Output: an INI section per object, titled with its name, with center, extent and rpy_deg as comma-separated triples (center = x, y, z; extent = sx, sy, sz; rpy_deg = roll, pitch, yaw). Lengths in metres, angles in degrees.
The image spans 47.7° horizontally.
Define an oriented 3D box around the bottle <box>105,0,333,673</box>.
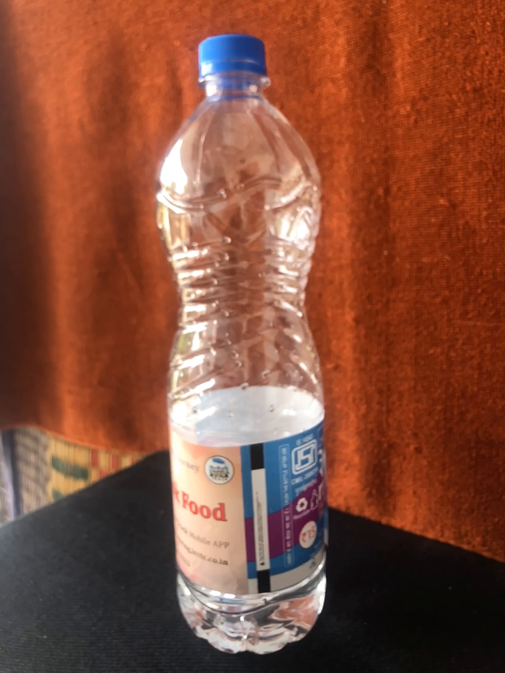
[bottle]
center = -0.015, 0.007, 0.269
extent = 0.070, 0.279, 0.090
rpy_deg = -7, 14, -19
